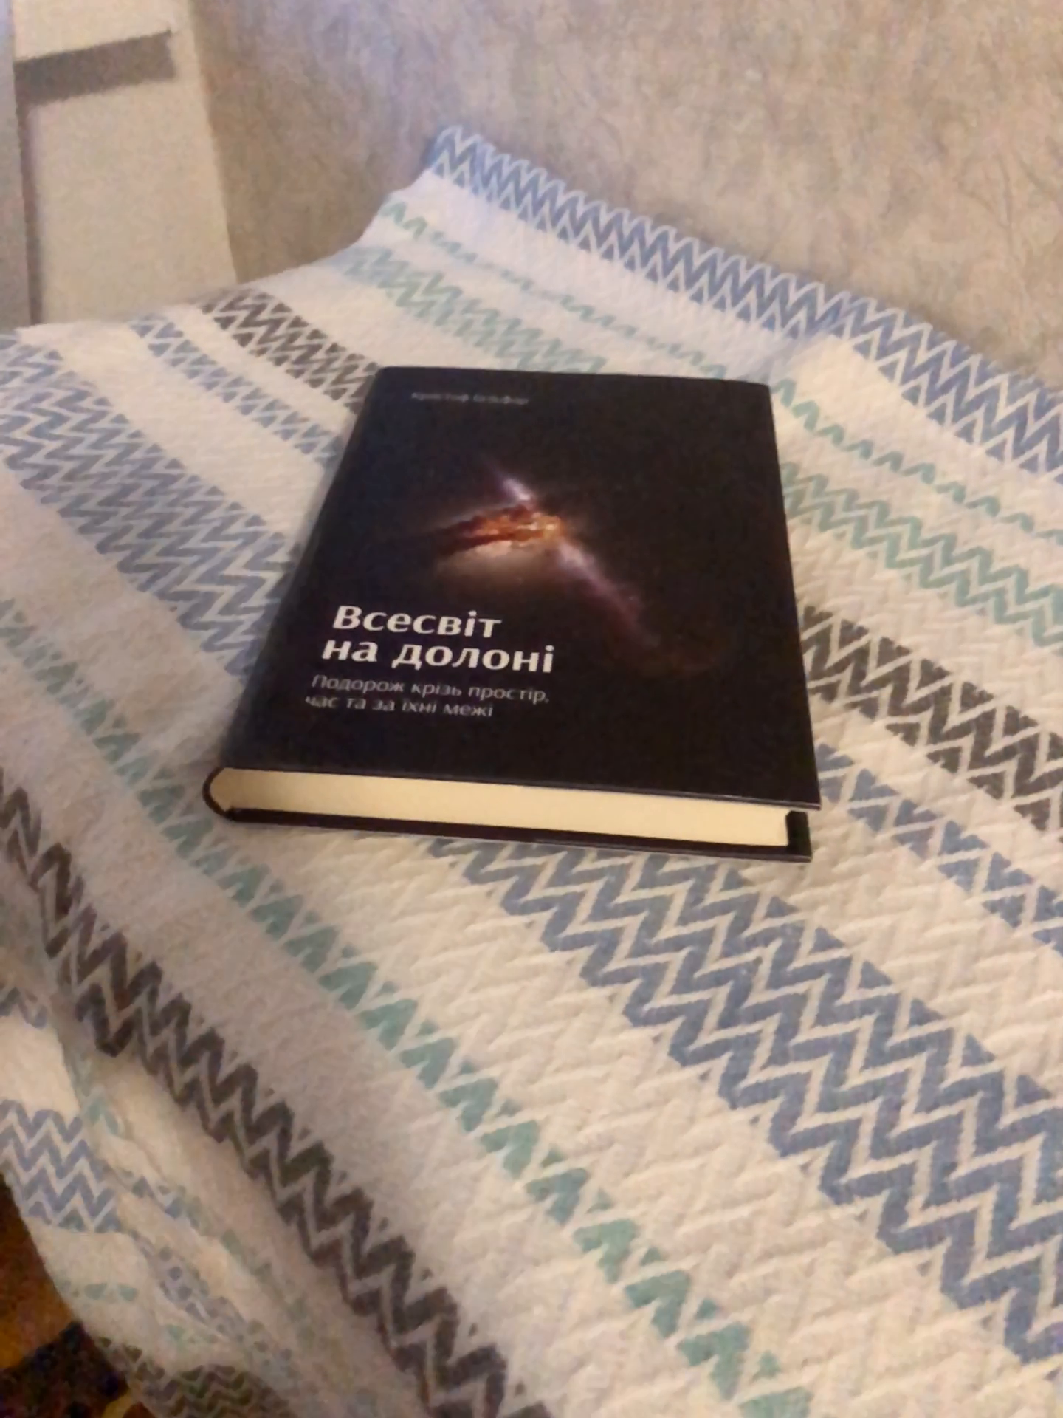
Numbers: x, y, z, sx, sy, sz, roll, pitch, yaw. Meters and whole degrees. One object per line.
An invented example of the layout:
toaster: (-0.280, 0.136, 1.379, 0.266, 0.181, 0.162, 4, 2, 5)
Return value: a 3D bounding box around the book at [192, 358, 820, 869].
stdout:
book: (0.002, -0.049, 0.393, 0.161, 0.030, 0.226, 4, 42, 4)
